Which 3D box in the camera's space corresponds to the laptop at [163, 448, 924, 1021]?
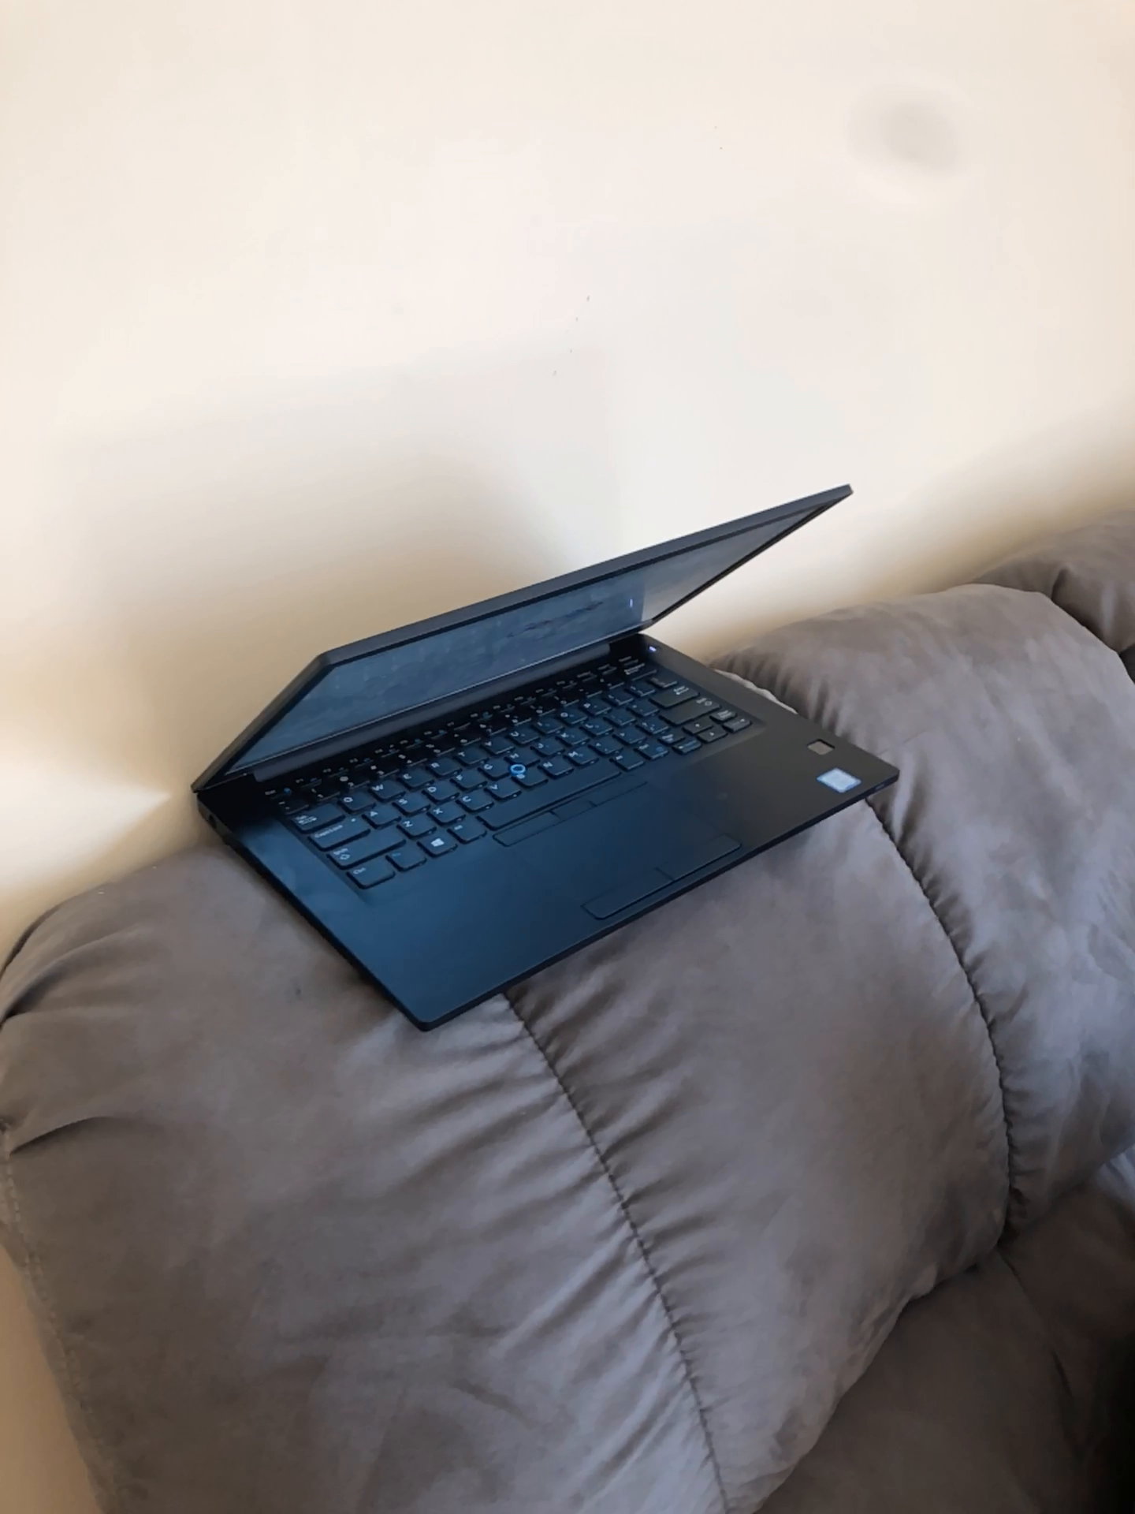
[{"bbox_3d":[-0.004,-0.042,0.659,0.321,0.128,0.214,-22,37,-34],"label":"laptop"}]
